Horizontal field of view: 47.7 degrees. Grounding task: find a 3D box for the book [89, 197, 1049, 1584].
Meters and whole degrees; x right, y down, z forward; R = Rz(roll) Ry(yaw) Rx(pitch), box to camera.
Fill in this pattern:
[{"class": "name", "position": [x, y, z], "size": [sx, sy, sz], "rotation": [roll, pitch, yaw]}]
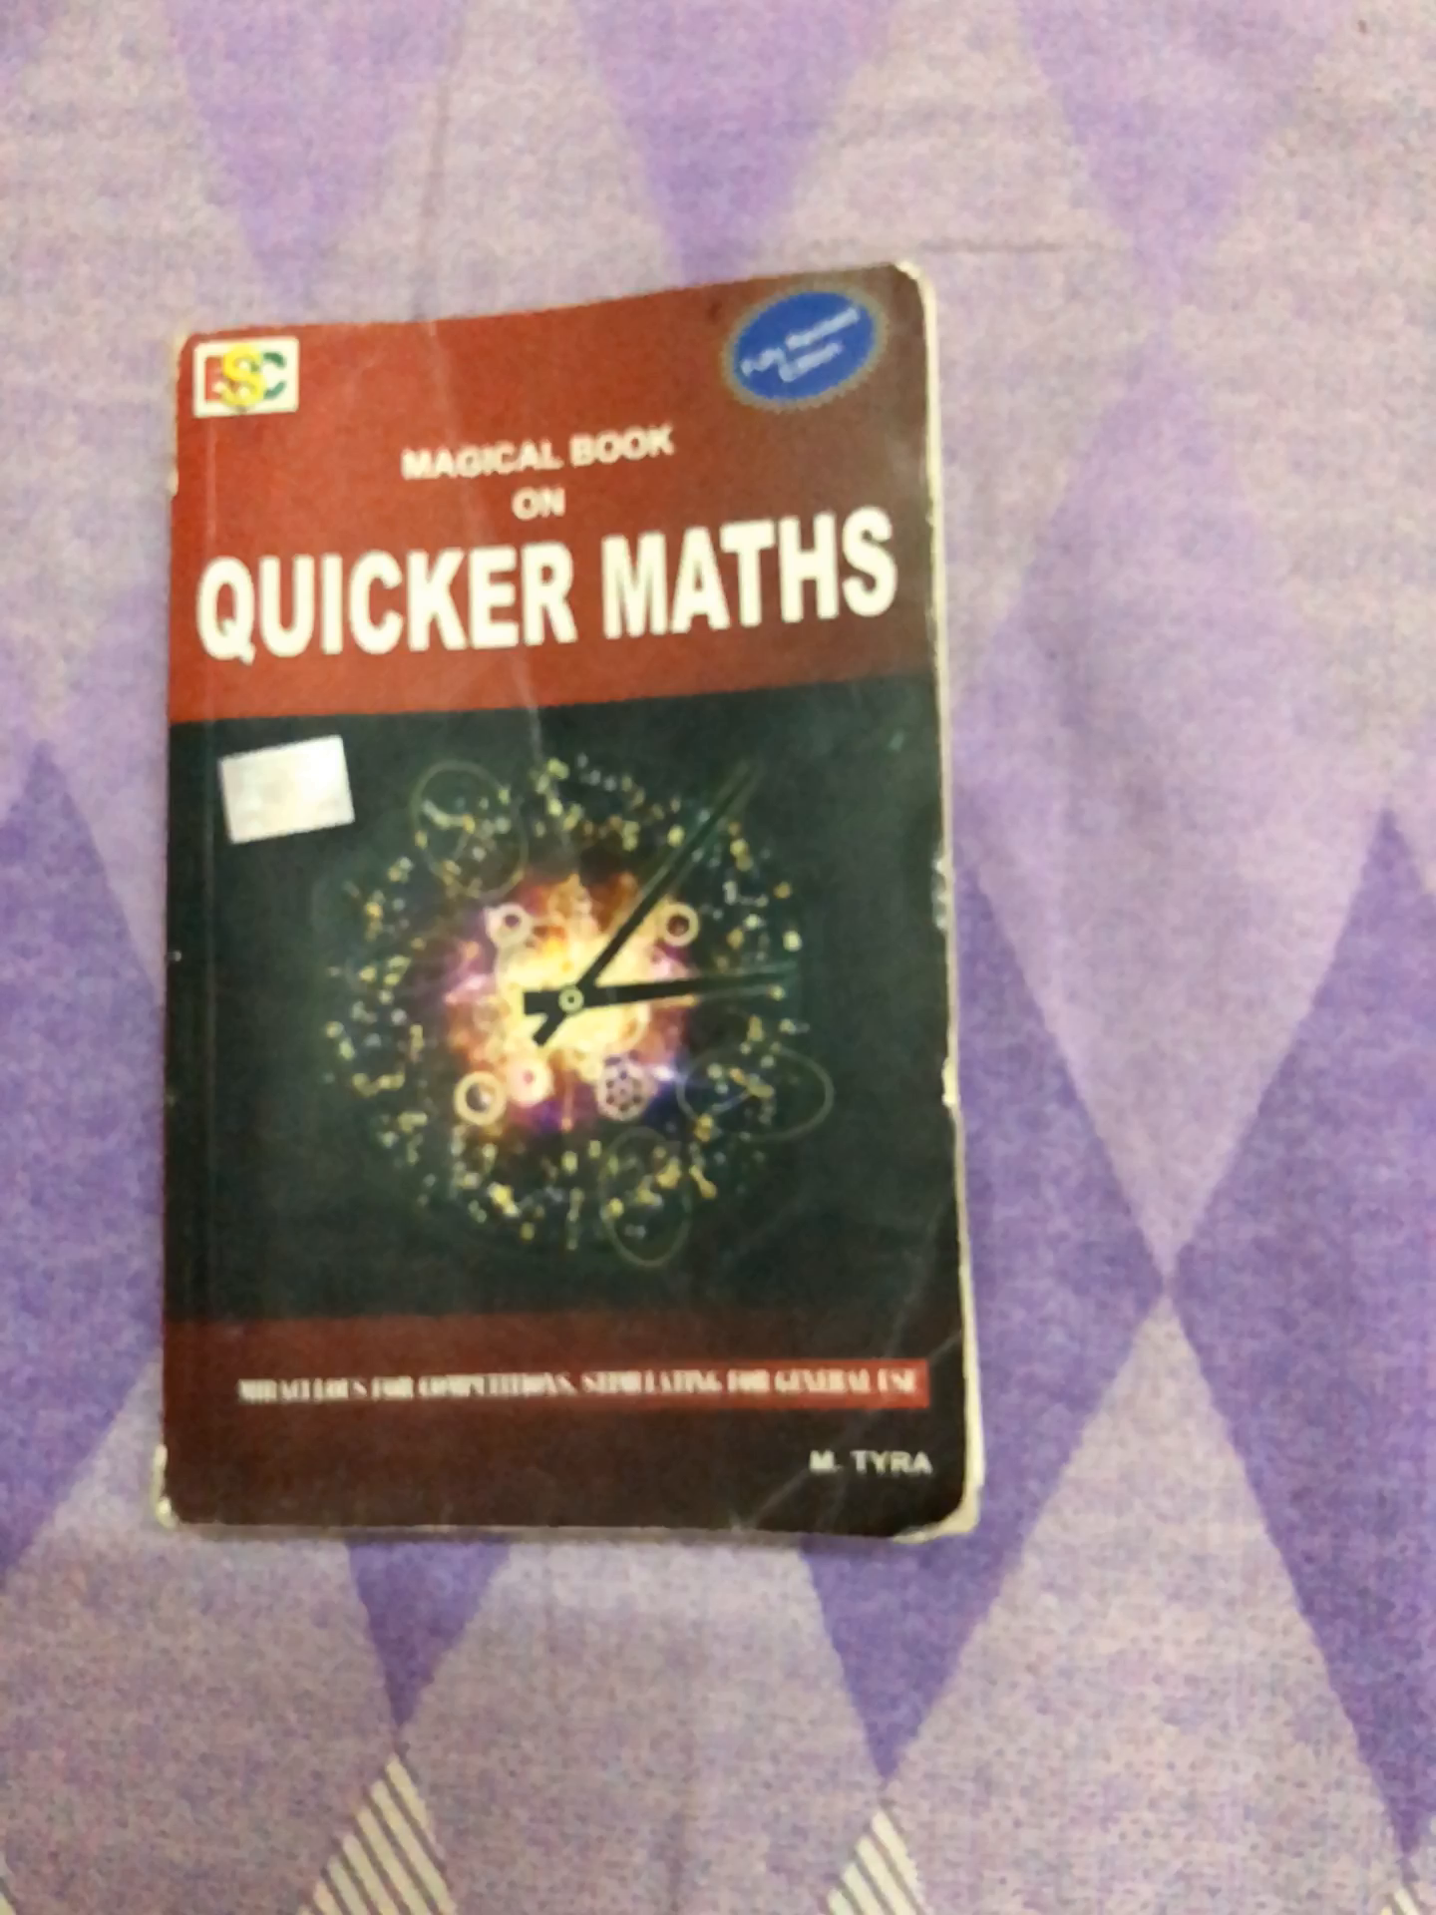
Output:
[{"class": "book", "position": [-0.026, -0.010, 0.289], "size": [0.150, 0.050, 0.220], "rotation": [-3, 82, 6]}]
